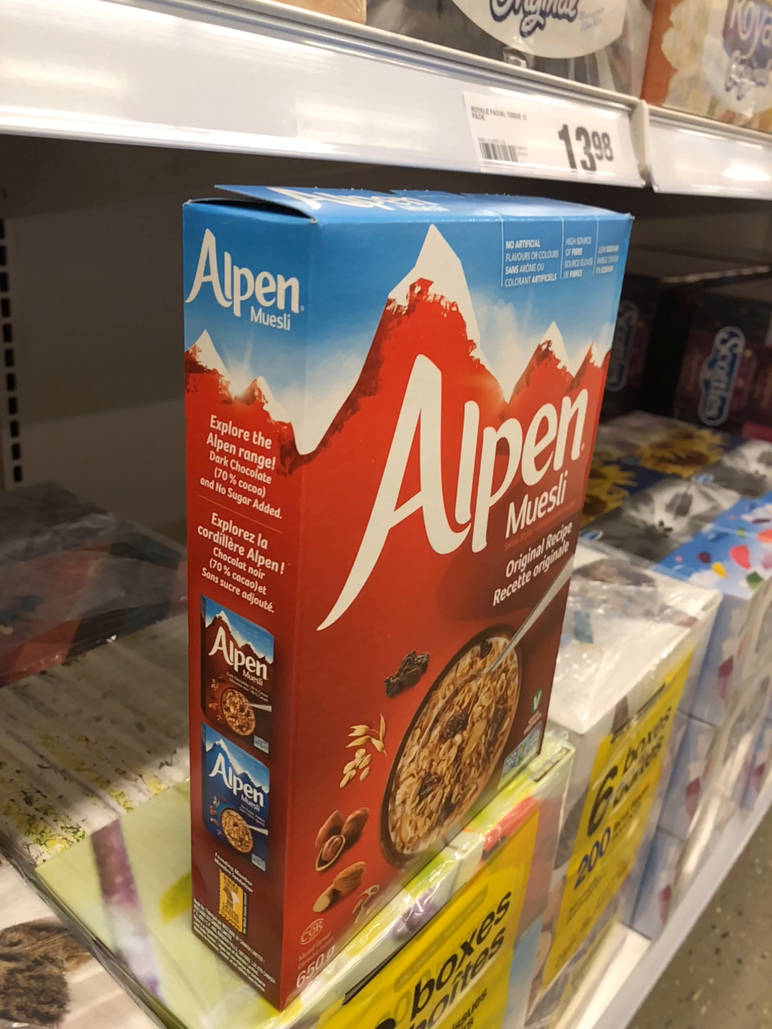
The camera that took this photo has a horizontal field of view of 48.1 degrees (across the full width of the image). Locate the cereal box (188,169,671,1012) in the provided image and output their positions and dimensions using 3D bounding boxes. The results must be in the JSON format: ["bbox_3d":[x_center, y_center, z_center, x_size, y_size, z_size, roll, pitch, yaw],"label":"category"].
[{"bbox_3d":[0.019,0.011,0.296,0.050,0.229,0.180,20,26,32],"label":"cereal box"}]
